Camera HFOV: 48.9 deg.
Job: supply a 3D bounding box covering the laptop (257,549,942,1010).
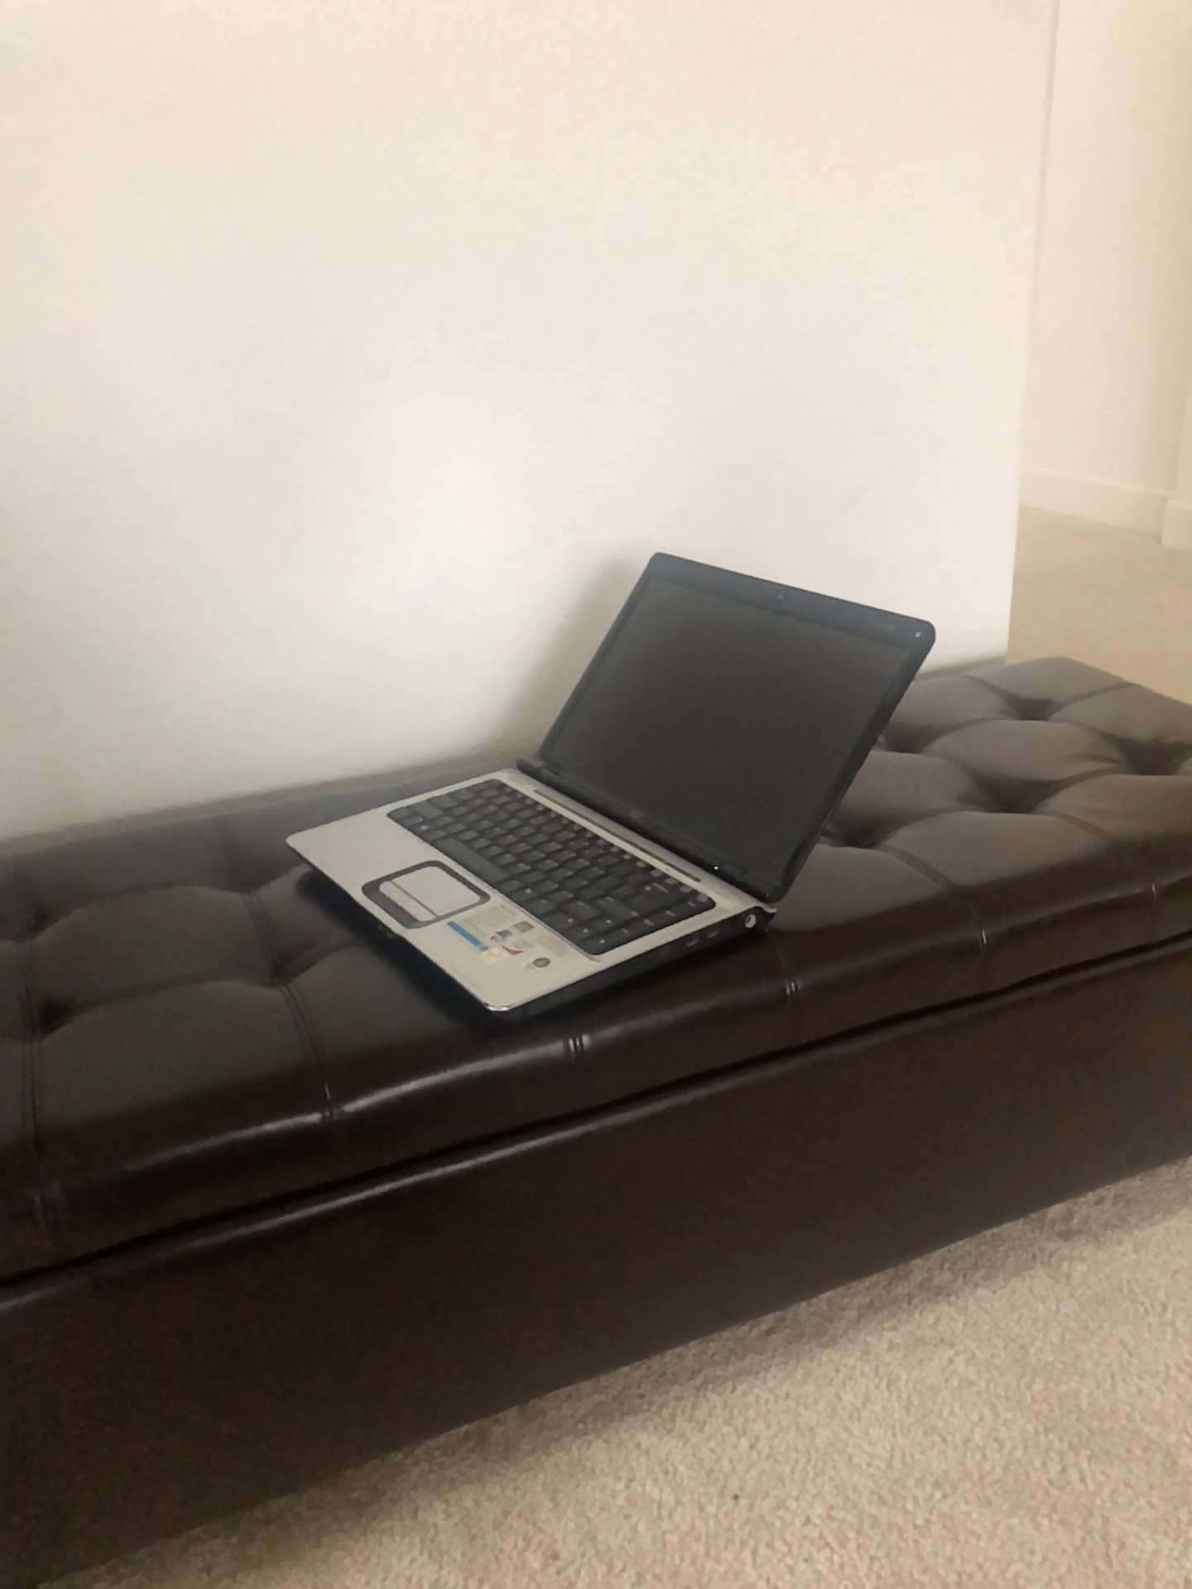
[{"bbox_3d":[0.000,-0.045,0.980,0.381,0.161,0.327,-19,27,-32],"label":"laptop"}]
